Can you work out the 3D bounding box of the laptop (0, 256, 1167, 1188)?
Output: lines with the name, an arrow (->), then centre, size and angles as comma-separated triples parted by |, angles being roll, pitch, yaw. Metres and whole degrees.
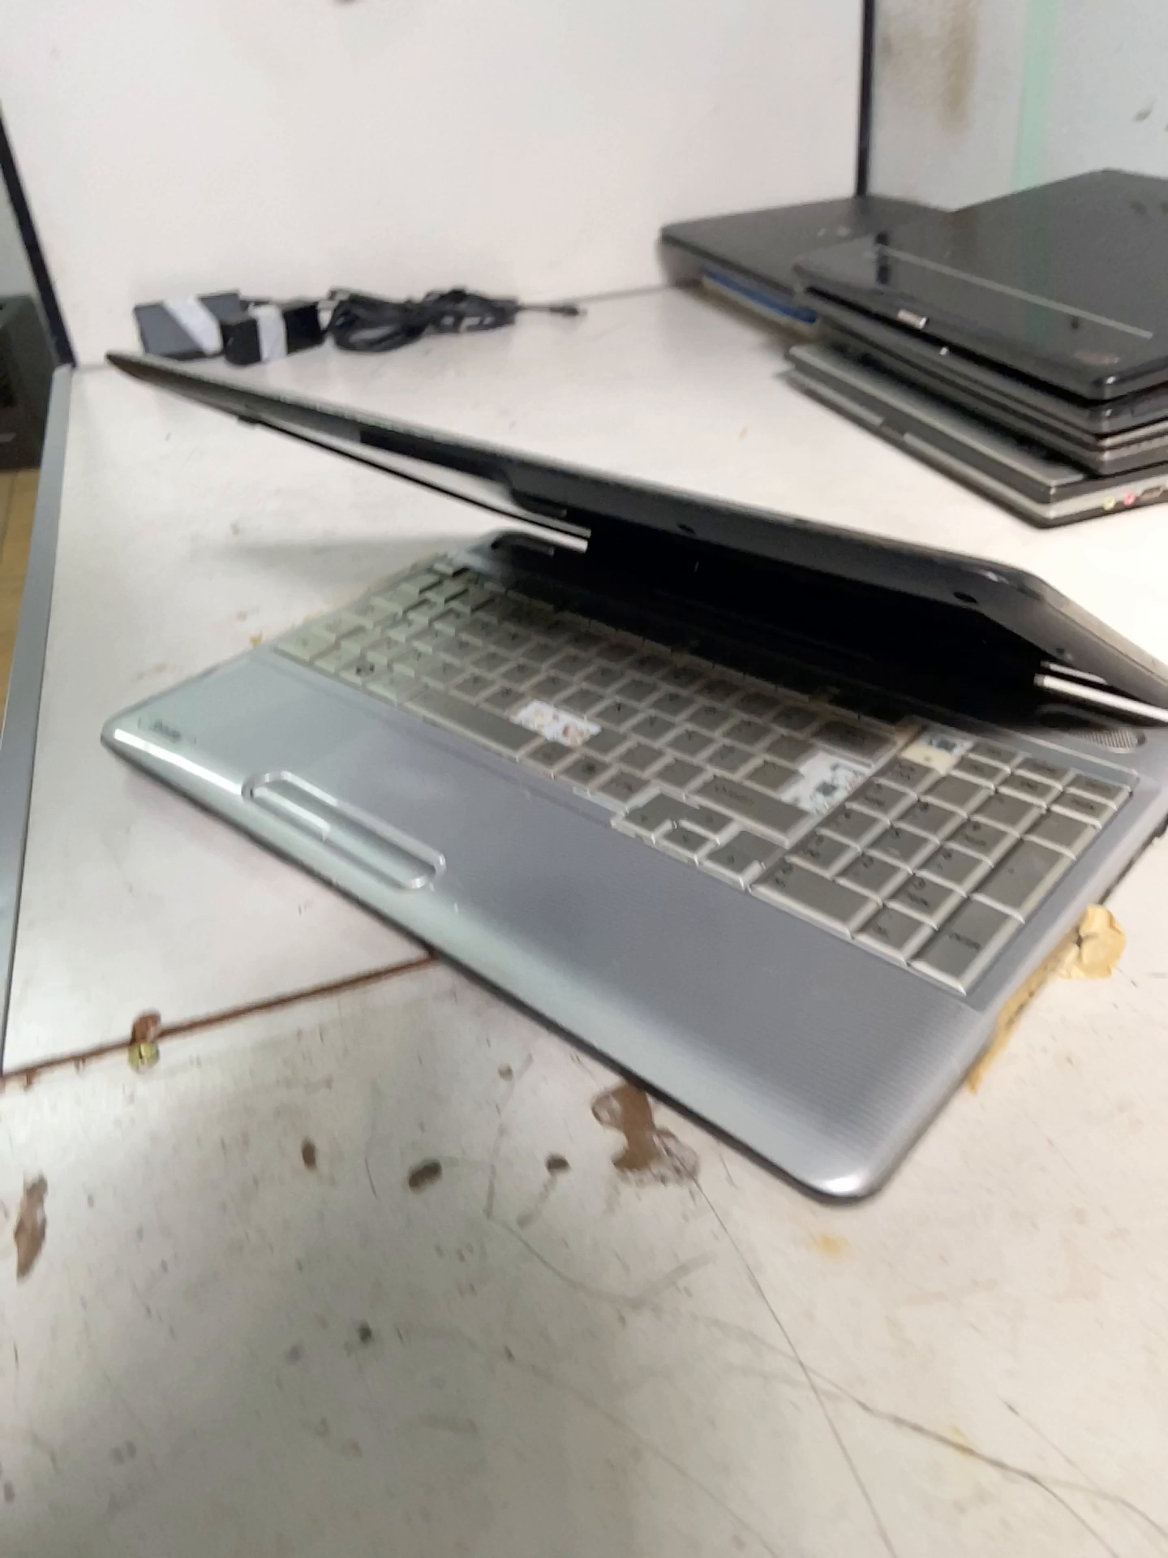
laptop -> 0.012, -0.076, 0.451 | 0.372, 0.143, 0.256 | 24, 44, 35
